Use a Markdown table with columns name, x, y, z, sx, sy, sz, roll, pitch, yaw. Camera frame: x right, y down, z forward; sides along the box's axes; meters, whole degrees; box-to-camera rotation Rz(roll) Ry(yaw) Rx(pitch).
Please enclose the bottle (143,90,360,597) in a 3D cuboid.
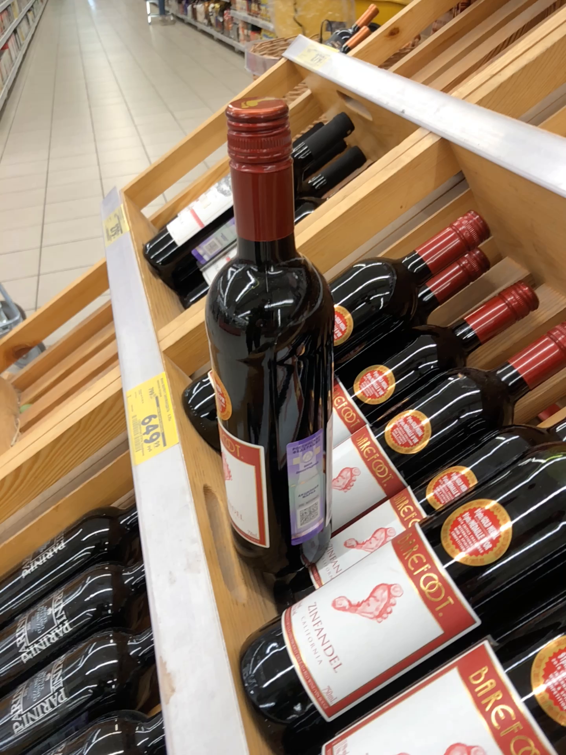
| name | x | y | z | sx | sy | sz | roll | pitch | yaw |
| --- | --- | --- | --- | --- | --- | --- | --- | --- | --- |
| bottle | -0.010 | -0.006 | 0.361 | 0.071 | 0.278 | 0.076 | -2 | 33 | 1 |
